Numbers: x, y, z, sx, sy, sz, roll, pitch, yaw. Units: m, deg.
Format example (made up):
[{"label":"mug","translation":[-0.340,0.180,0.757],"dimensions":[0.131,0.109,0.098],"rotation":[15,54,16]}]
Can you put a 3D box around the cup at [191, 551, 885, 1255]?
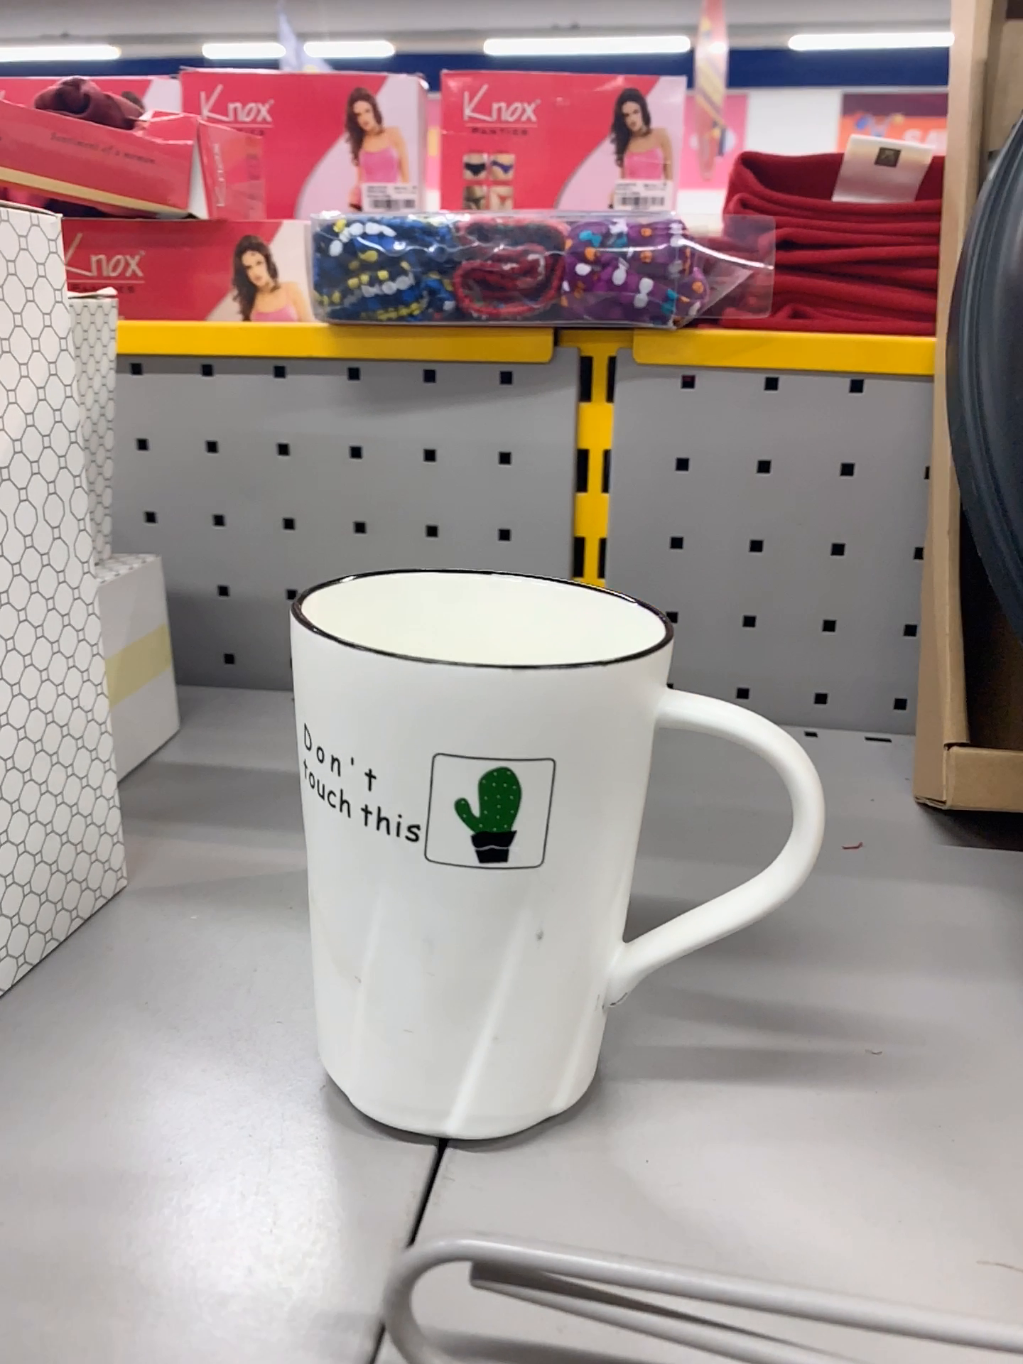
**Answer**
[{"label":"cup","translation":[0.010,0.041,0.254],"dimensions":[0.130,0.120,0.090],"rotation":[5,19,13]}]
